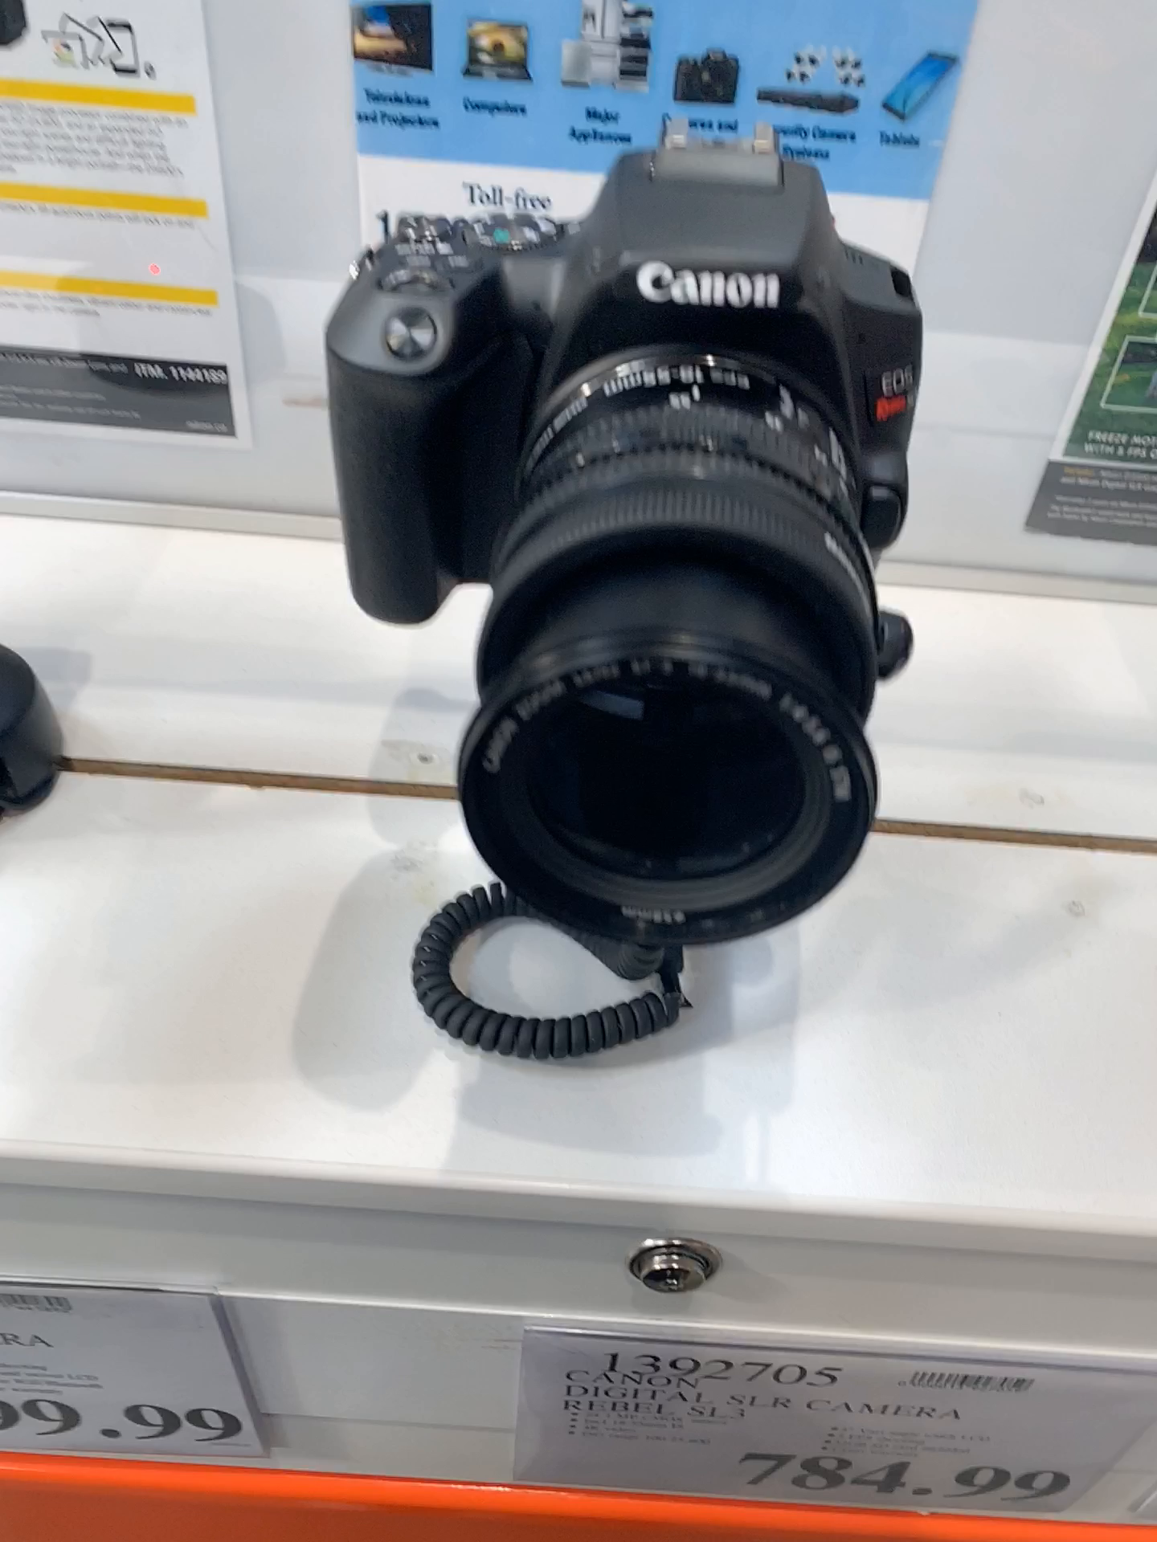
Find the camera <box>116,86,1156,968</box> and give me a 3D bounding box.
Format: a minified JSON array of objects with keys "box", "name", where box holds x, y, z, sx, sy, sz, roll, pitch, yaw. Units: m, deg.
[{"box":[0.012,-0.051,0.202,0.119,0.079,0.141,4,41,-1],"name":"camera"}]
